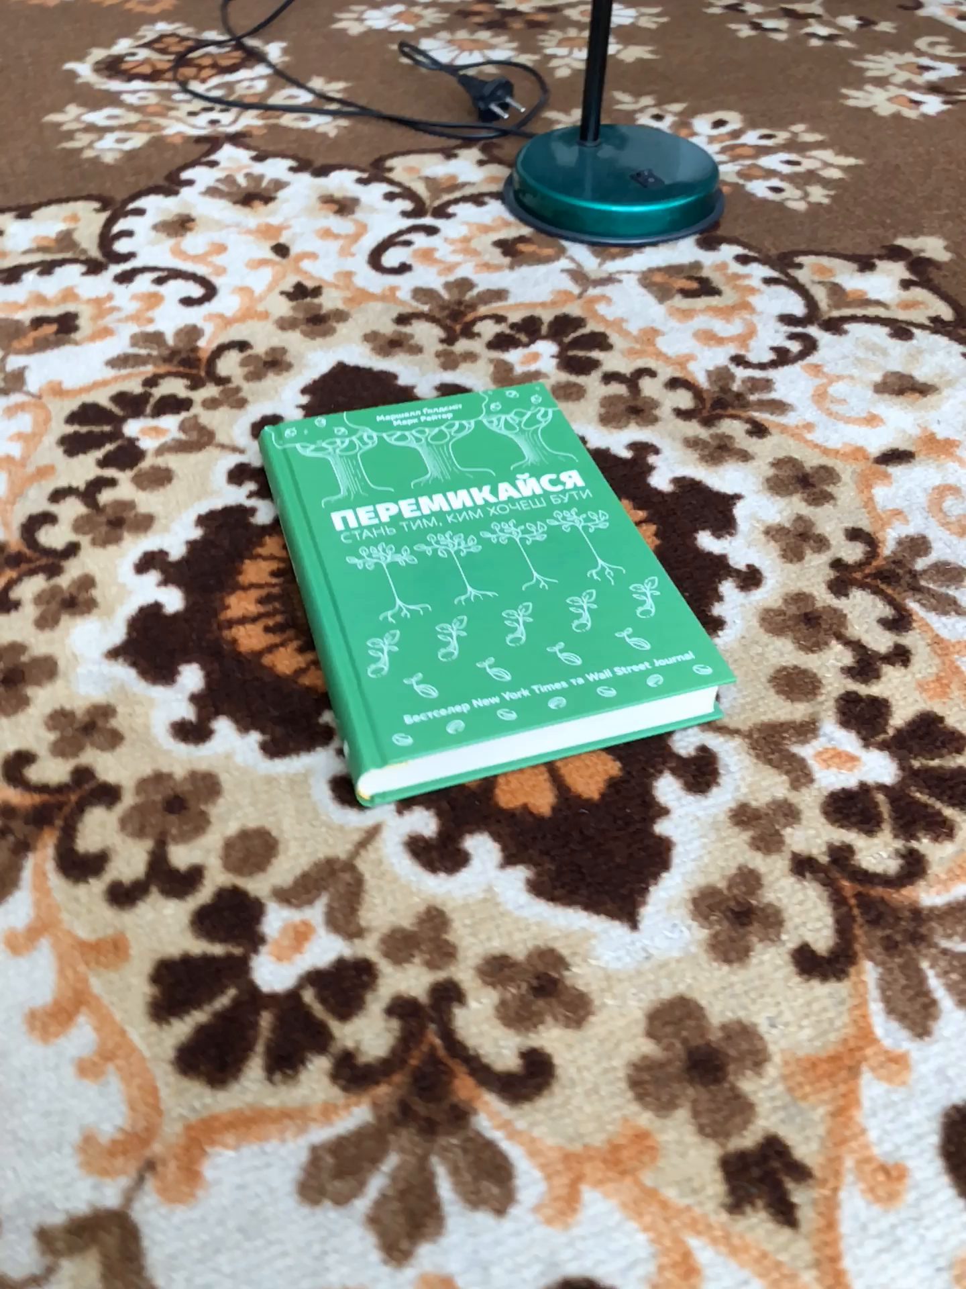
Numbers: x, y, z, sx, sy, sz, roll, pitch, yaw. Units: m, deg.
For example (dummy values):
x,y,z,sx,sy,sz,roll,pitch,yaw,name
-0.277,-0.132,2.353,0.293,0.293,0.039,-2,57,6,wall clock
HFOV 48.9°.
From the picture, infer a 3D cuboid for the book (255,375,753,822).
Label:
x,y,z,sx,sy,sz,roll,pitch,yaw,name
-0.004,-0.034,0.424,0.137,0.023,0.203,-12,47,-13,book
